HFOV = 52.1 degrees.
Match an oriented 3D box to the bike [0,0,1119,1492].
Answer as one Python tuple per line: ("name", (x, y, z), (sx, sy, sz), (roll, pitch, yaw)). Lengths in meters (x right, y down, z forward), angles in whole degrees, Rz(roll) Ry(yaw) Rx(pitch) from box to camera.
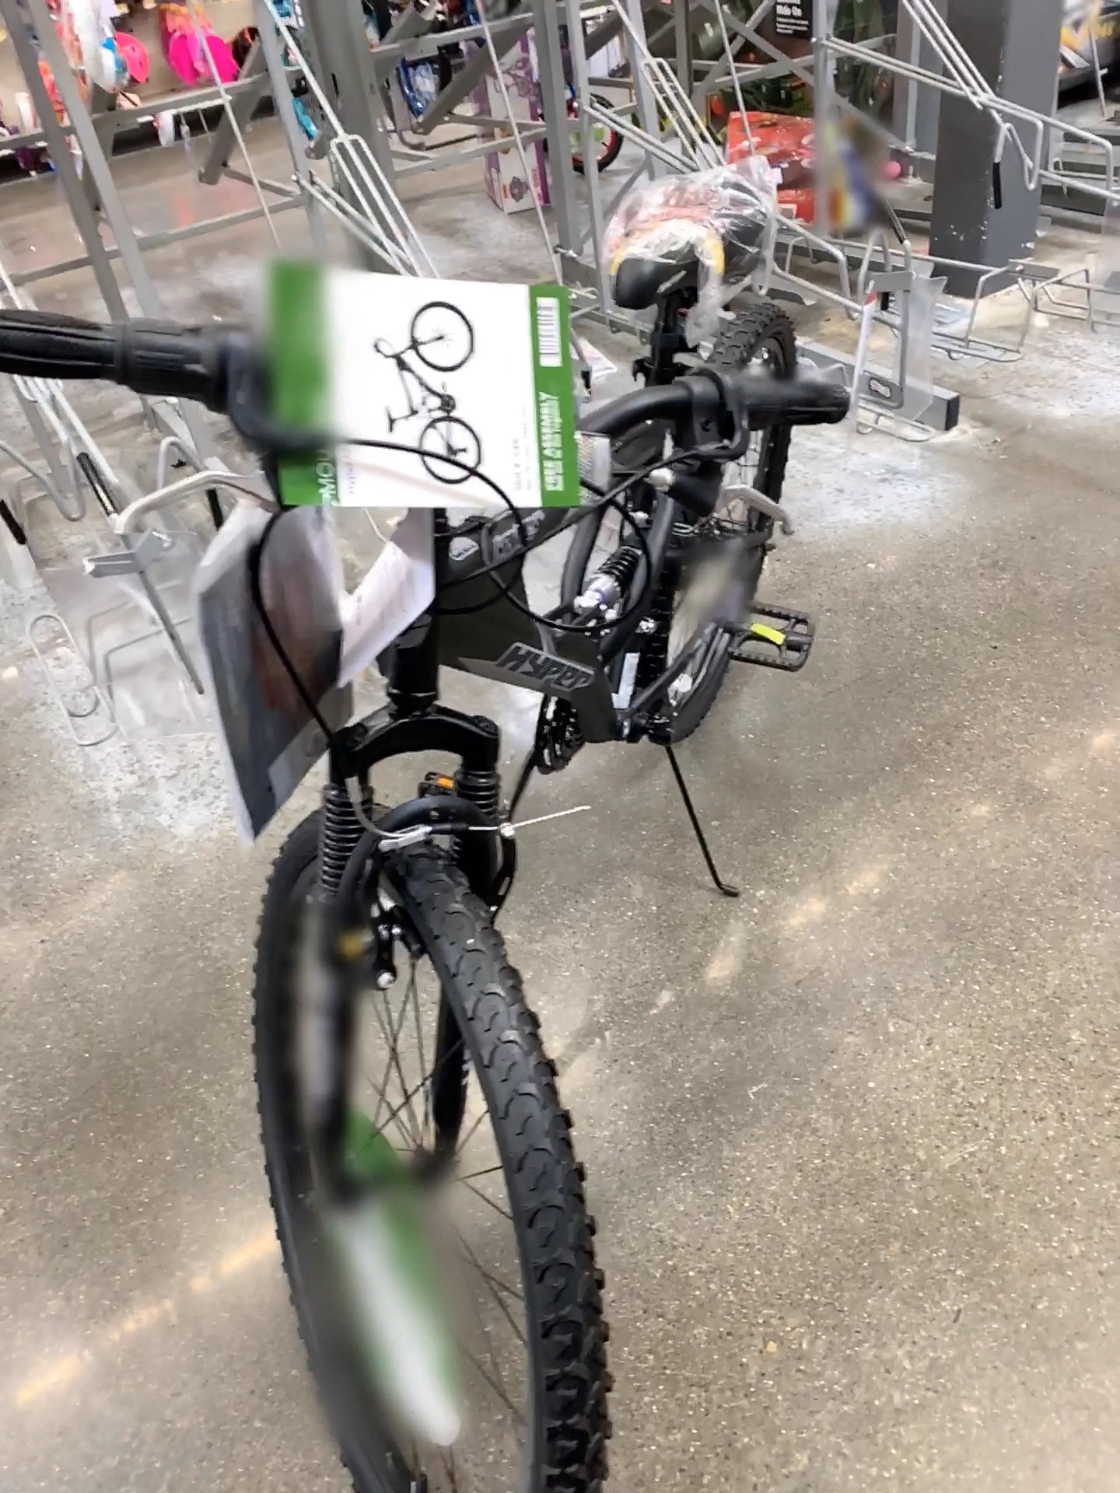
("bike", (0.248, -0.127, 1.323), (0.690, 1.089, 1.689), (3, 42, 15))
